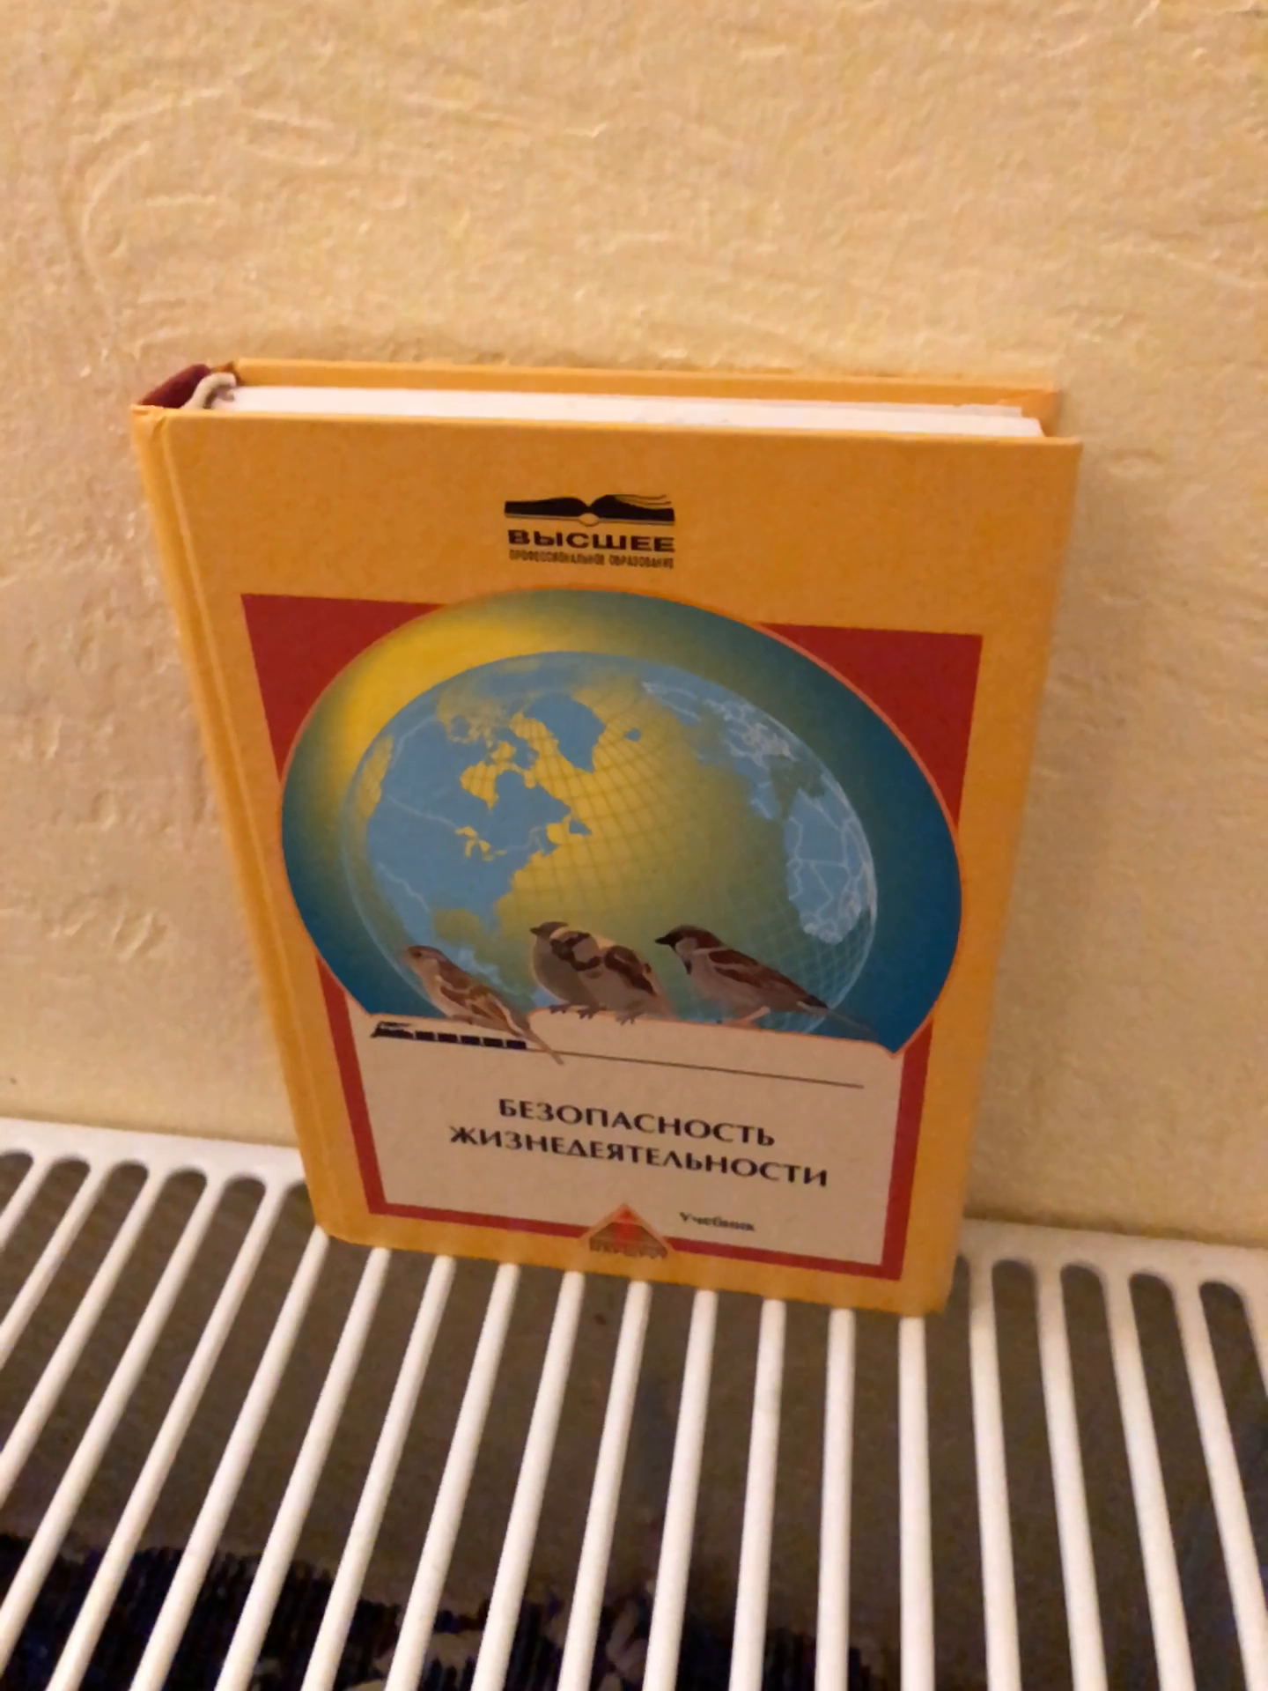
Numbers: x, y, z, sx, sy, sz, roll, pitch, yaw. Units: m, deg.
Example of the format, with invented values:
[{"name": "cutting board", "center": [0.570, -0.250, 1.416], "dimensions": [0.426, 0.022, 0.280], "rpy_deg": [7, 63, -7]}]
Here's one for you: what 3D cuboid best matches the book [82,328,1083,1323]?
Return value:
[{"name": "book", "center": [-0.004, 0.007, 0.282], "dimensions": [0.150, 0.202, 0.041], "rpy_deg": [5, 38, 11]}]
